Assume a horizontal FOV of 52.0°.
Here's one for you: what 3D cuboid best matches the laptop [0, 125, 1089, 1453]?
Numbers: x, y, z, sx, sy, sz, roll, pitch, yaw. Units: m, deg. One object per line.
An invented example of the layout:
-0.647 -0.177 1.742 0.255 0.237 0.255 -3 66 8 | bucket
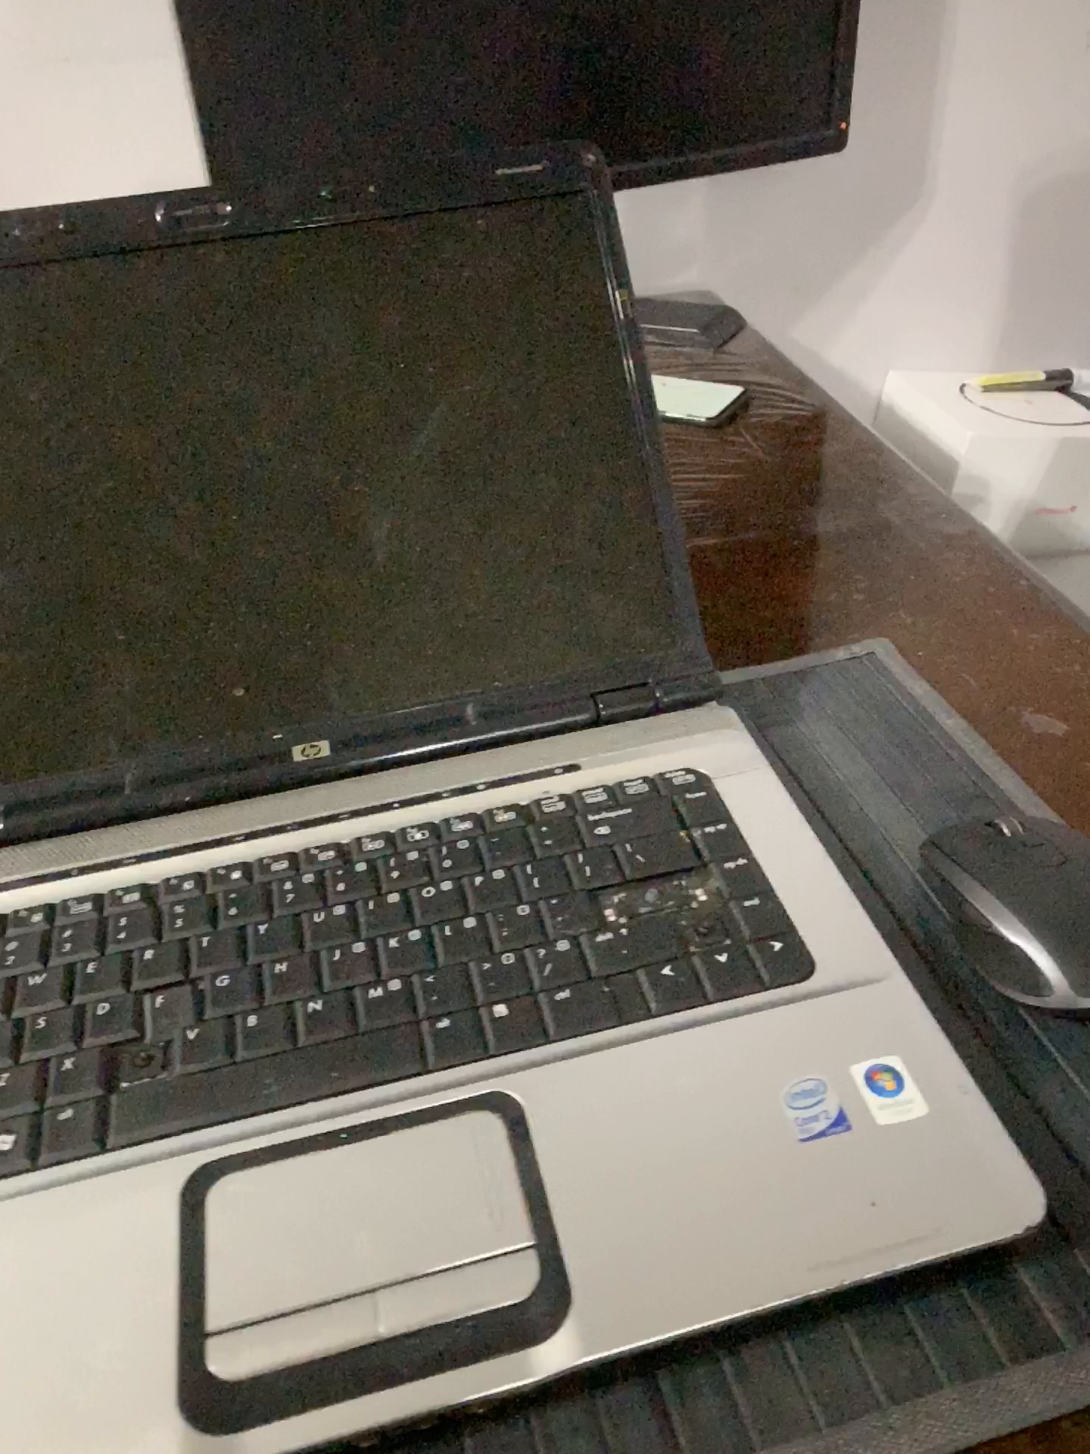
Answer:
-0.092 -0.037 0.362 0.349 0.186 0.404 -11 38 -9 | laptop
